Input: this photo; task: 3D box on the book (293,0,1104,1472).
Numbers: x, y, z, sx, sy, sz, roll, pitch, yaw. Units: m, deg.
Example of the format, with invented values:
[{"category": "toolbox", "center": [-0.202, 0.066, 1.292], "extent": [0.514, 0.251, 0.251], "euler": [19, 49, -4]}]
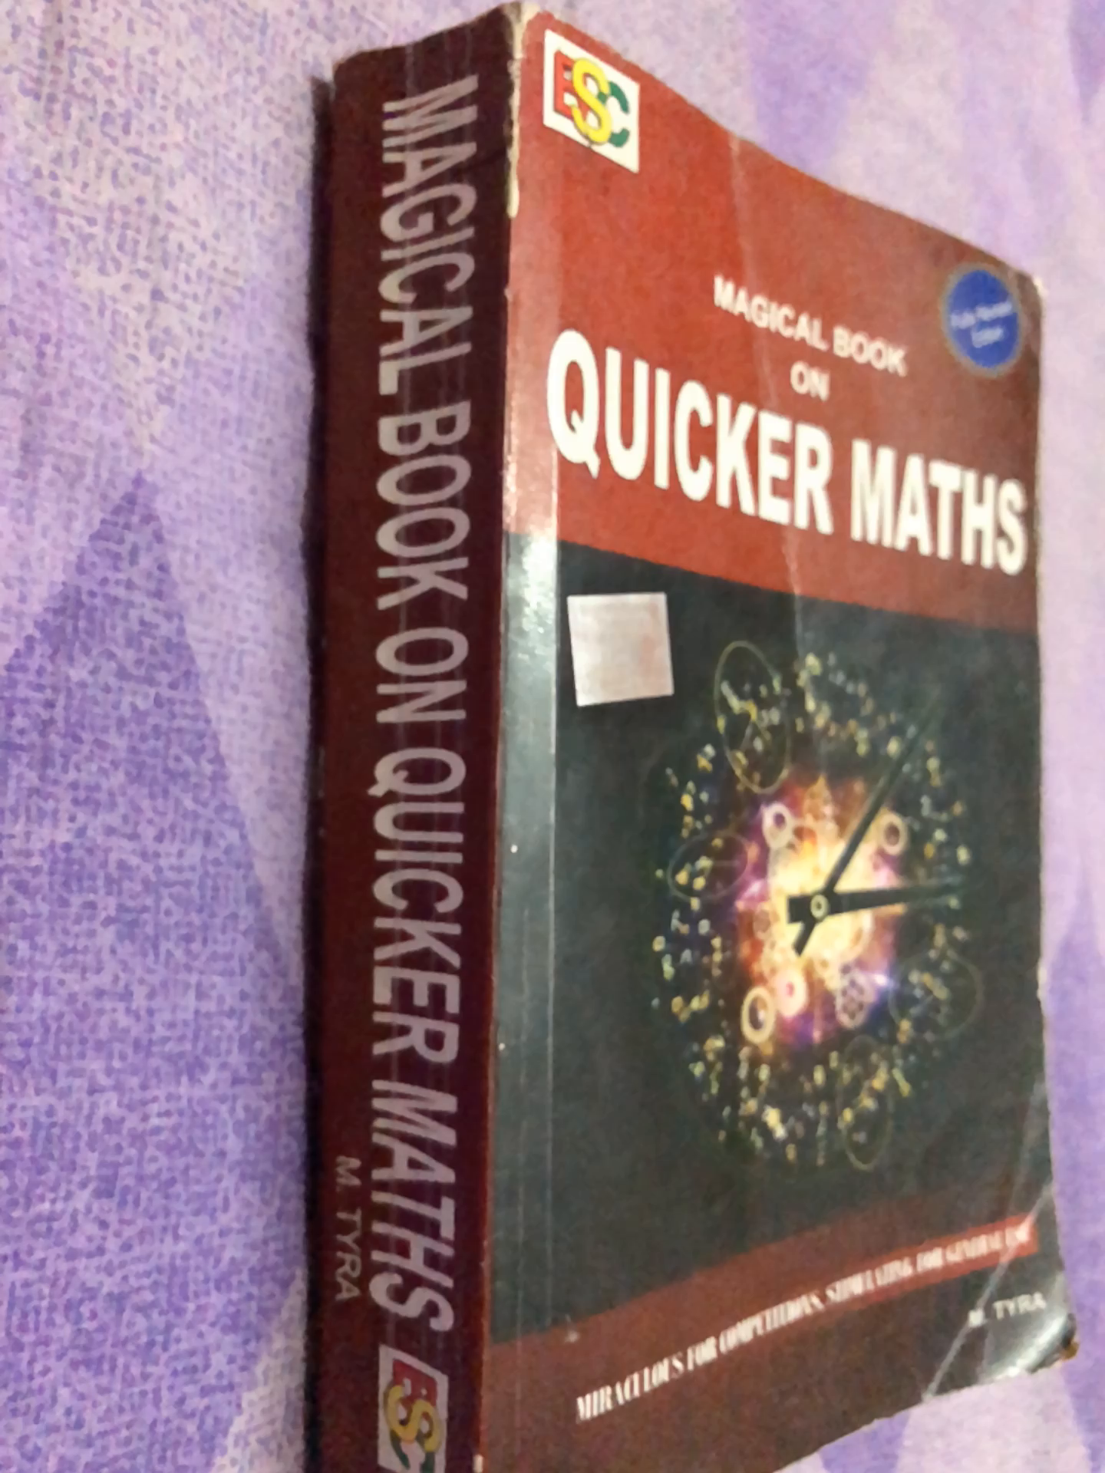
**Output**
[{"category": "book", "center": [0.036, 0.010, 0.218], "extent": [0.151, 0.050, 0.220], "euler": [3, 85, -41]}]
